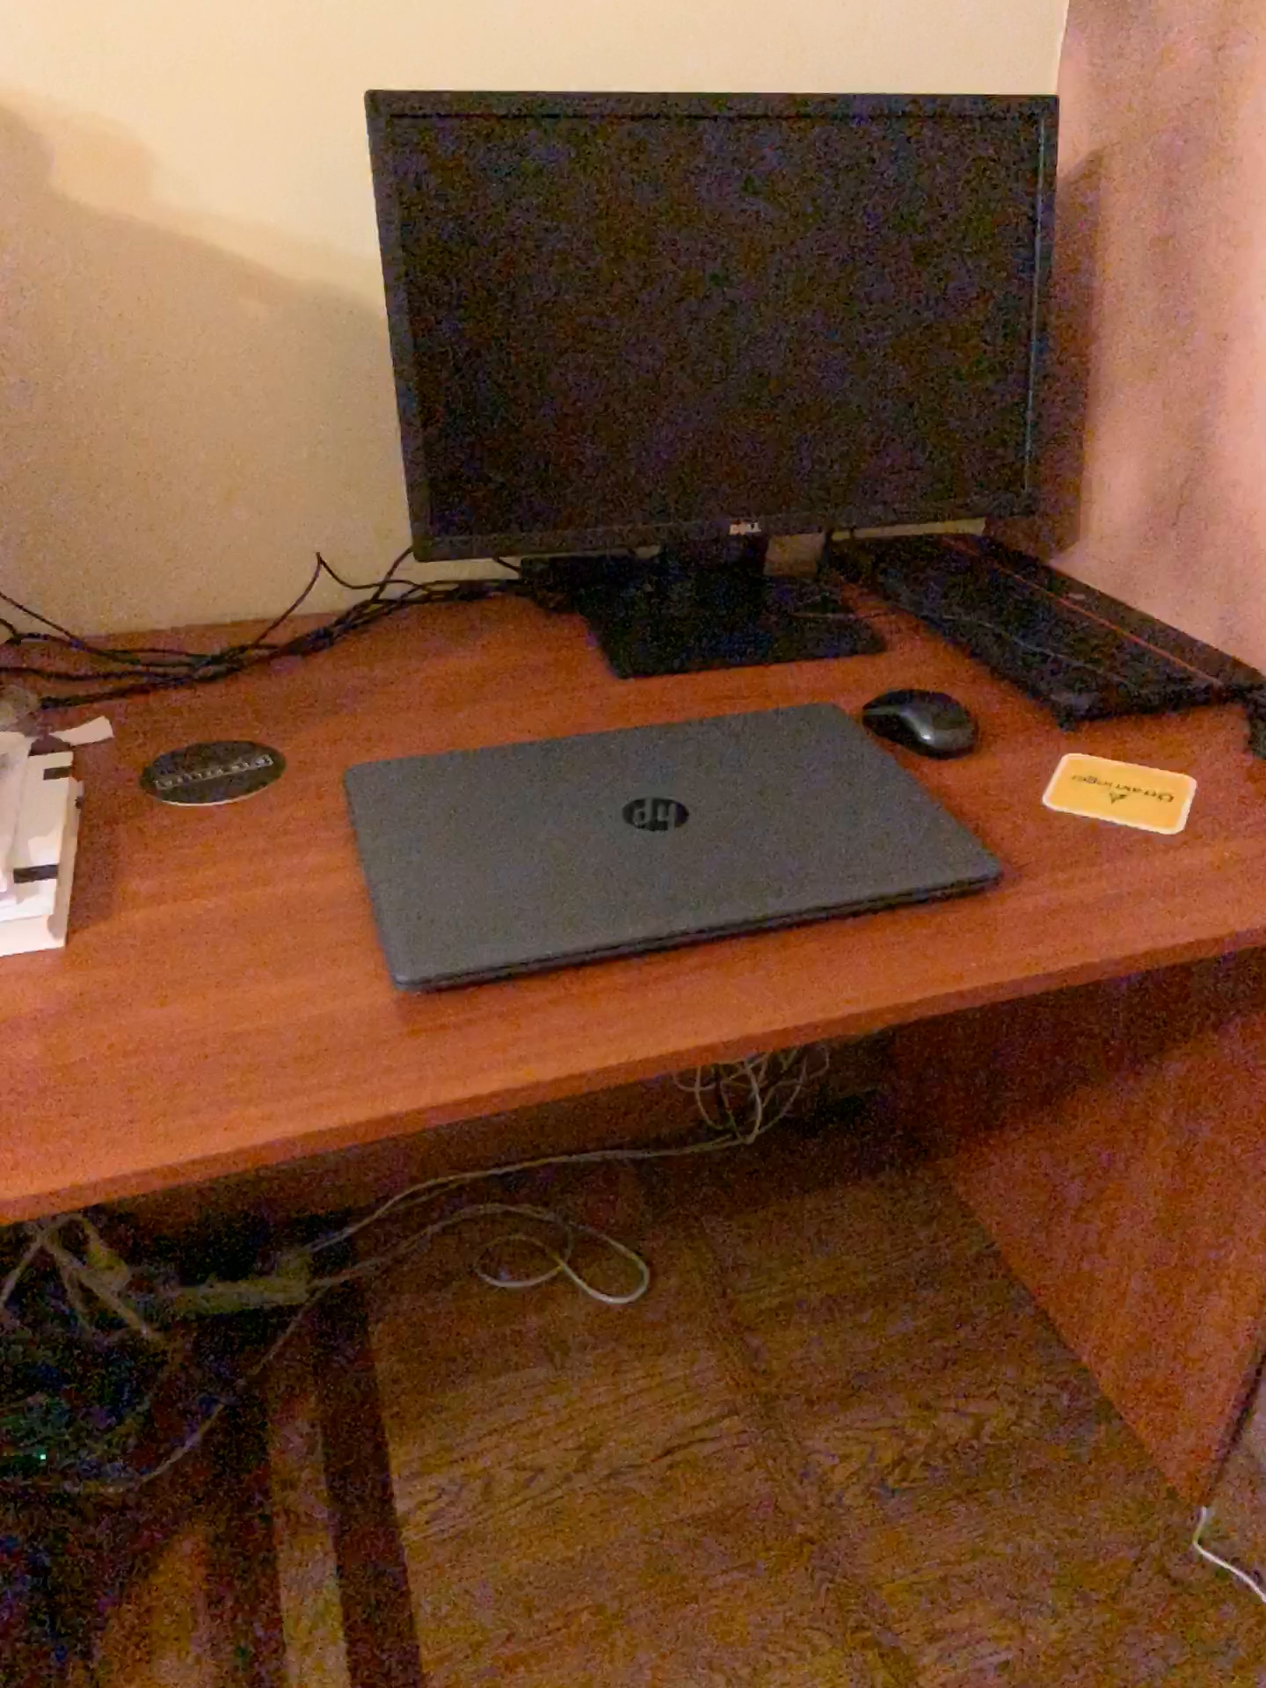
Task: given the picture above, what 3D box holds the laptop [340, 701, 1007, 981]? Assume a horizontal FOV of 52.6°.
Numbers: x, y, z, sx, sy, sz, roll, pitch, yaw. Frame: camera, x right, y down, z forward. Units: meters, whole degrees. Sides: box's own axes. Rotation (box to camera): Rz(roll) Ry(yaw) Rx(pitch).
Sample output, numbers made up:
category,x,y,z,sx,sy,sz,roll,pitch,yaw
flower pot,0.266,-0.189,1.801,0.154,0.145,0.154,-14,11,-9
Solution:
category,x,y,z,sx,sy,sz,roll,pitch,yaw
laptop,0.012,-0.018,0.833,0.369,0.005,0.248,-9,33,-15
